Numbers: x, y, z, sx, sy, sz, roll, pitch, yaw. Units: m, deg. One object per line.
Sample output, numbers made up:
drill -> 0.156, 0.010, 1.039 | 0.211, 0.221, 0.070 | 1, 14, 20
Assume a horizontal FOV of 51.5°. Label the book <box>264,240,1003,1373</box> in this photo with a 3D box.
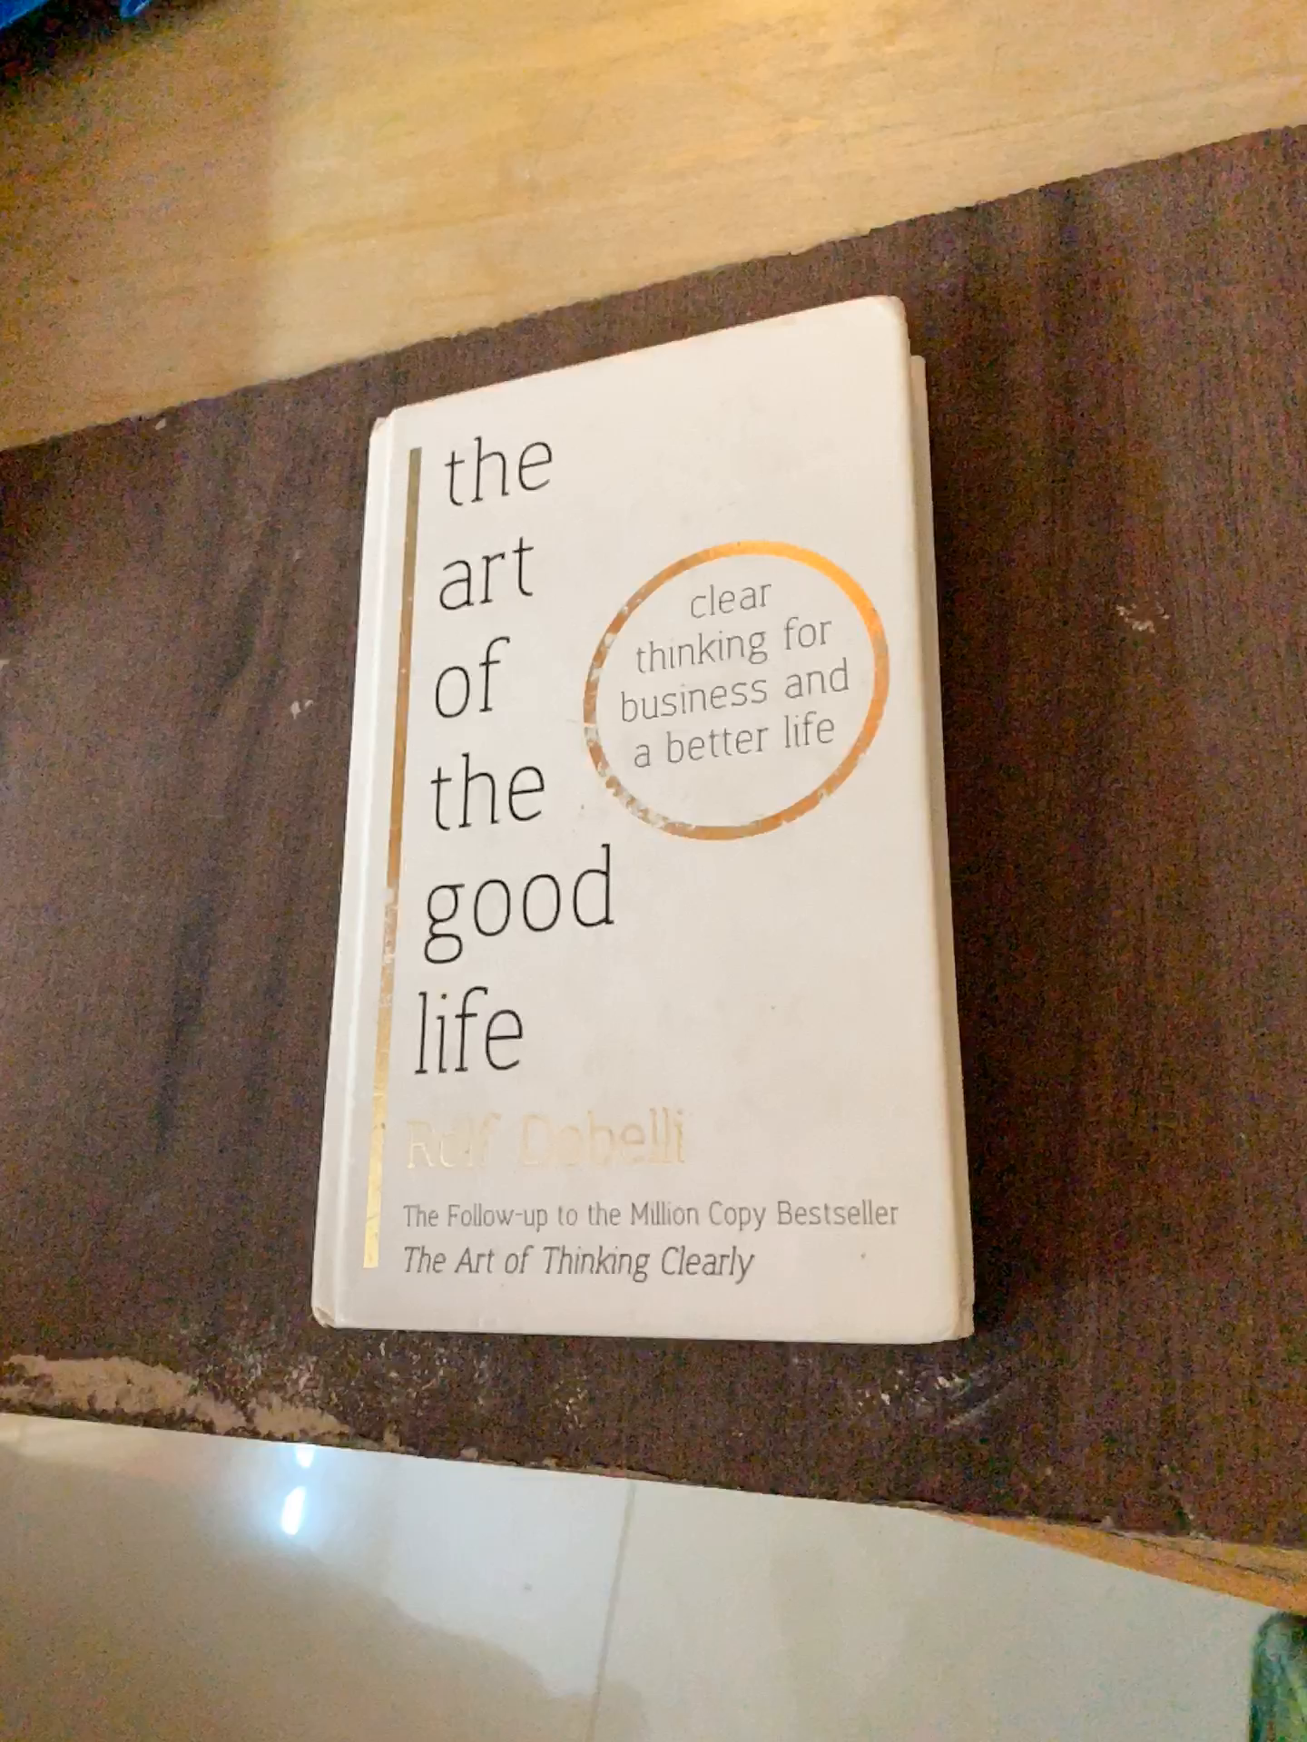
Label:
book -> -0.004, -0.010, 0.245 | 0.117, 0.037, 0.180 | -5, 76, 21
